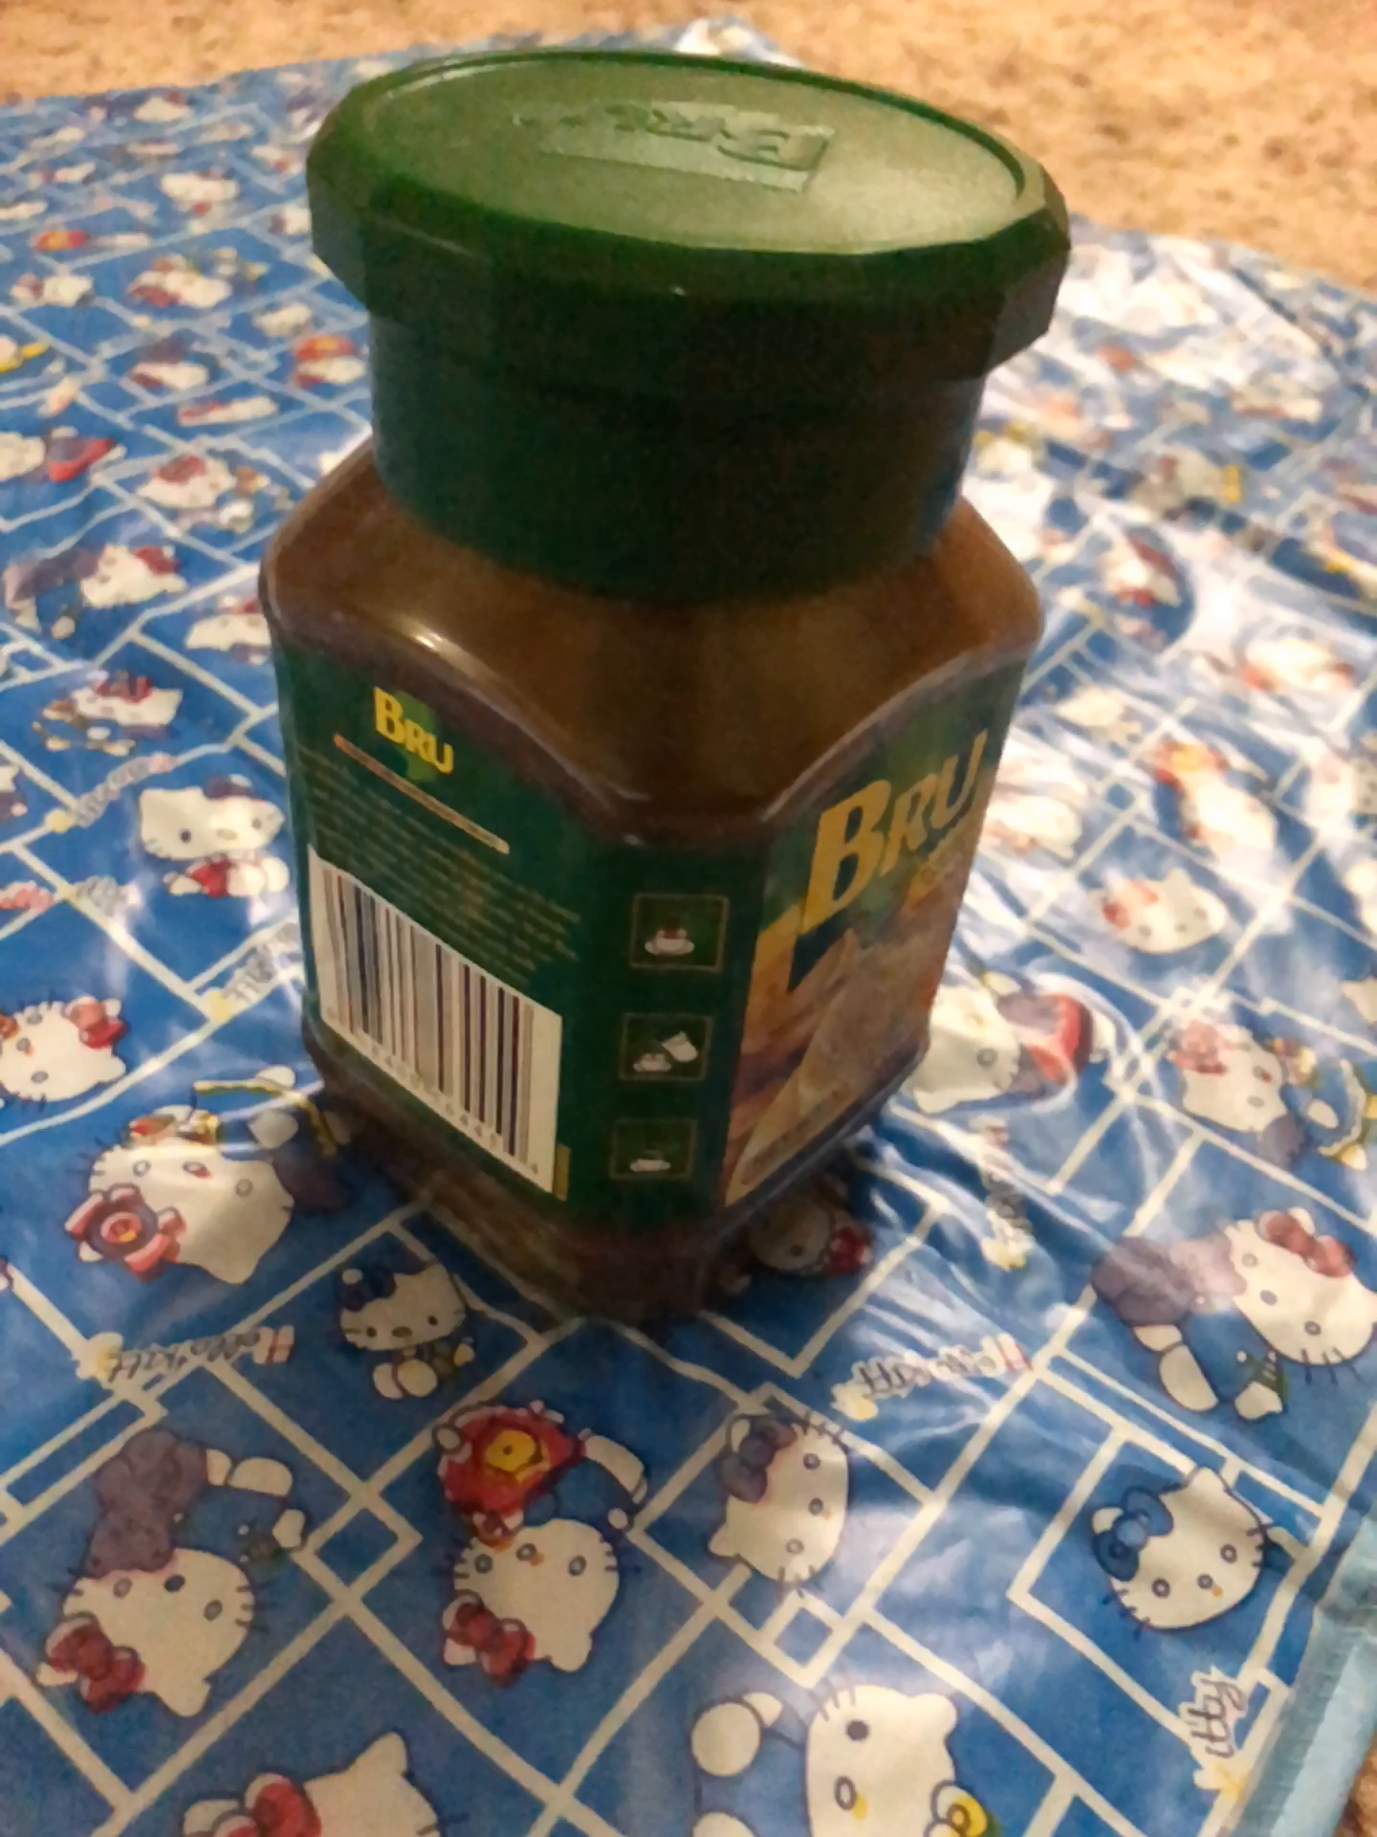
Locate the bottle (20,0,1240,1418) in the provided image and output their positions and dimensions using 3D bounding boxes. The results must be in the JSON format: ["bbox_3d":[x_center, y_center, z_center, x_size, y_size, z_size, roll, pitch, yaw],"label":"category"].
[{"bbox_3d":[-0.008,-0.025,0.173,0.070,0.120,0.080,33,47,26],"label":"bottle"}]
